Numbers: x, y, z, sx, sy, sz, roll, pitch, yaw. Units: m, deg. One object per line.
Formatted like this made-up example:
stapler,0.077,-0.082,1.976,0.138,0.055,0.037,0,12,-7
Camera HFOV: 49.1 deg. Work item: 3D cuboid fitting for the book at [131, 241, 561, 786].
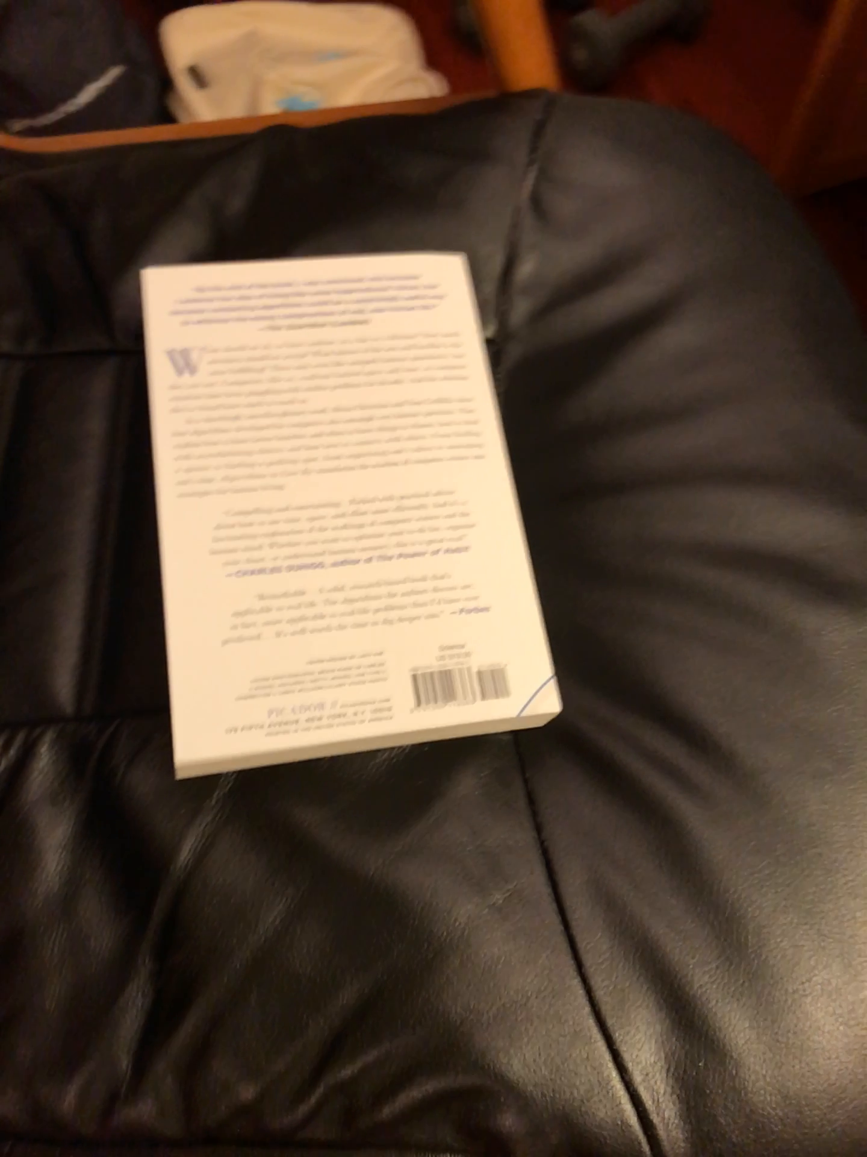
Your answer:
book,-0.048,-0.044,0.431,0.160,0.020,0.251,-6,67,-9
